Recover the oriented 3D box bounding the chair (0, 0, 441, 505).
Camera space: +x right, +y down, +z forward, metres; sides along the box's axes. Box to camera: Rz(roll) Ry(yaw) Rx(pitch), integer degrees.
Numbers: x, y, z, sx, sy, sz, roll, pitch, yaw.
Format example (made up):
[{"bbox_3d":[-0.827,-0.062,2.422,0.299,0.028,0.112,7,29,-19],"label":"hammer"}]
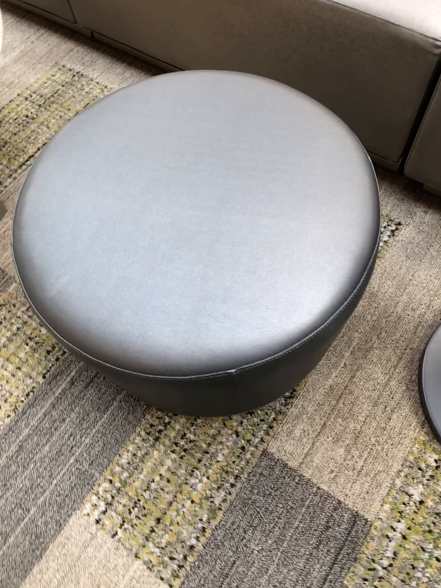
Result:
[{"bbox_3d":[-0.017,-0.074,0.911,0.621,0.459,0.570,35,69,19],"label":"chair"}]
